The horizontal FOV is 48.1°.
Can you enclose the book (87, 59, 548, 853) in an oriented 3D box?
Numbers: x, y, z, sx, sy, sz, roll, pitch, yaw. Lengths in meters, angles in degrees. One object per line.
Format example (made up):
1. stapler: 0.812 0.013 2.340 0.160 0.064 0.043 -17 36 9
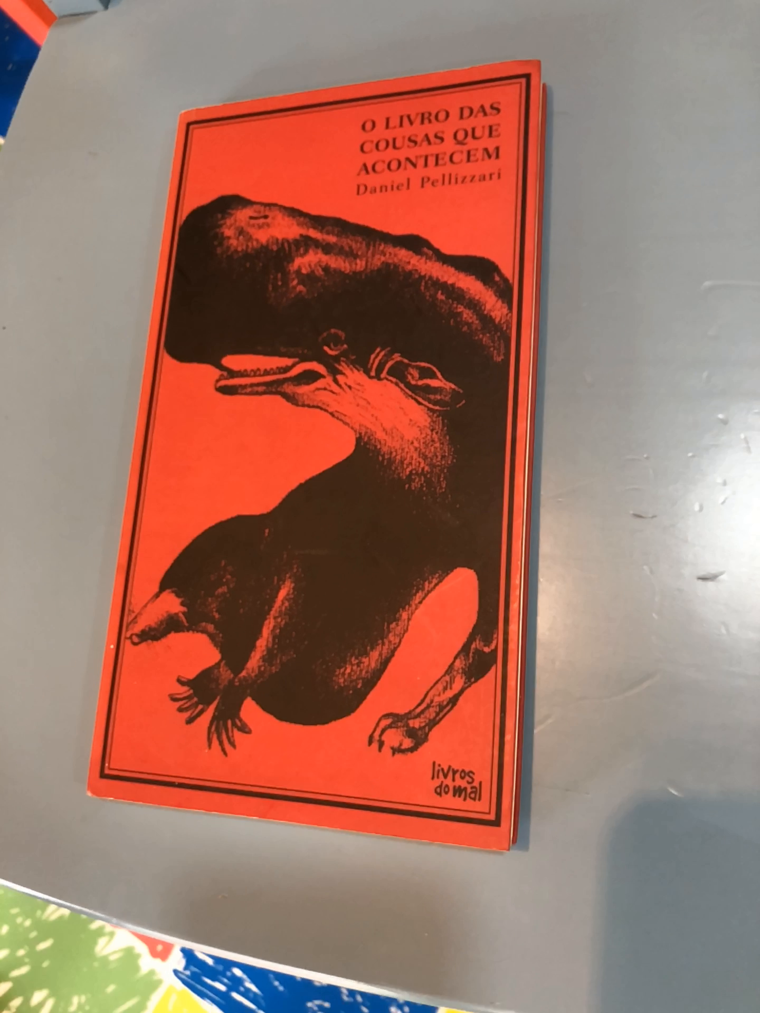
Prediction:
1. book: -0.014 -0.021 0.231 0.110 0.016 0.200 0 77 18
